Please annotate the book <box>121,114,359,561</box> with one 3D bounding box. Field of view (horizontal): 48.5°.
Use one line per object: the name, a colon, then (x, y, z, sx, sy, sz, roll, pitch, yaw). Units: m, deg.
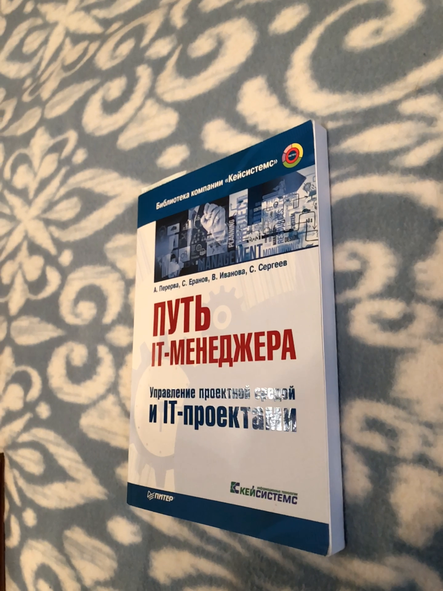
book: (-0.001, 0.024, 0.316, 0.173, 0.019, 0.228, -10, 75, 43)
